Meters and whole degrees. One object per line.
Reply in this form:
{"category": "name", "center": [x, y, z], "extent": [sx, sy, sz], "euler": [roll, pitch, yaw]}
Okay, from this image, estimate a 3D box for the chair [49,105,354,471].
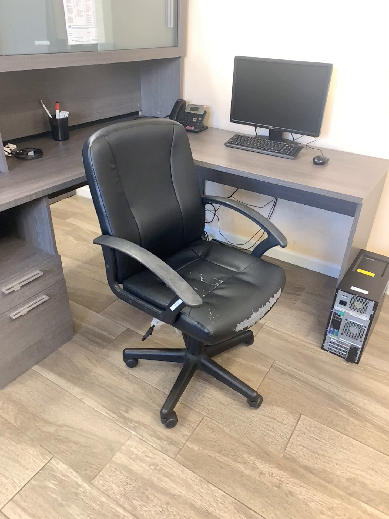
{"category": "chair", "center": [0.028, 0.036, 1.407], "extent": [0.641, 0.945, 0.652], "euler": [24, 37, 31]}
